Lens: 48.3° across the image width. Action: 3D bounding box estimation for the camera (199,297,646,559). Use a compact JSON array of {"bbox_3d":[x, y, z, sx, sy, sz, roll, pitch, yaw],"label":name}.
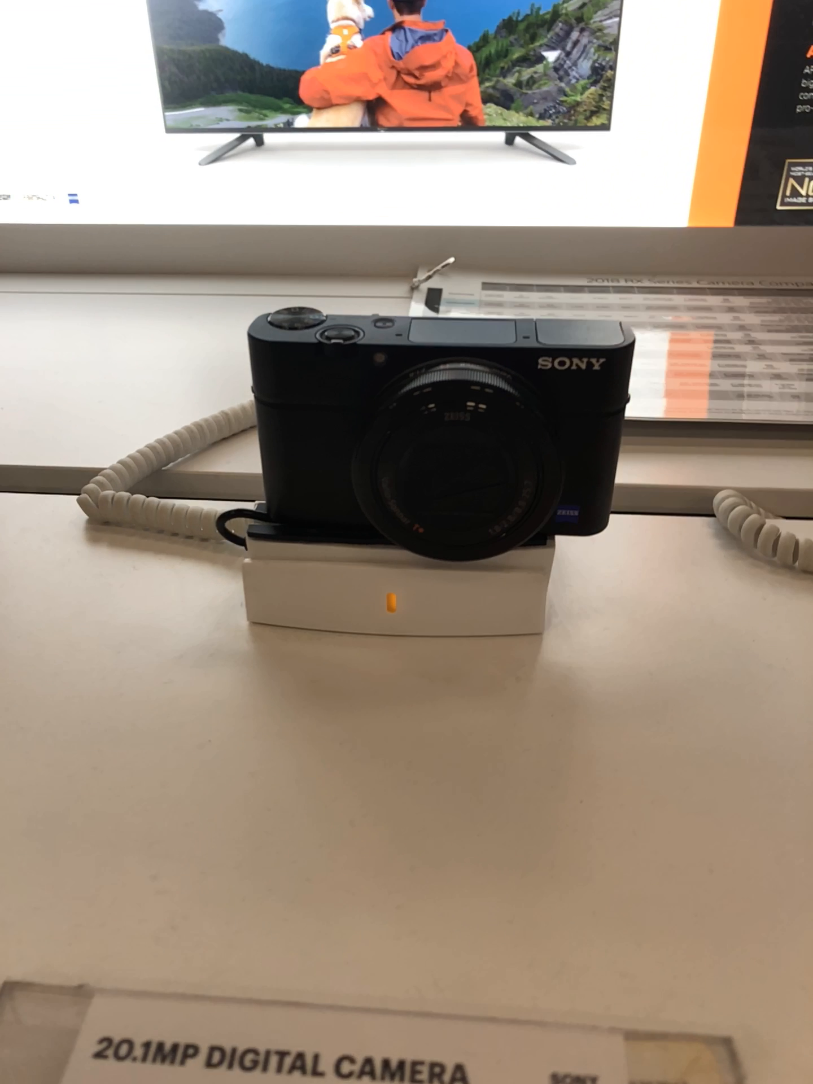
[{"bbox_3d":[0.005,-0.033,0.256,0.110,0.060,0.040,2,33,4],"label":"camera"}]
